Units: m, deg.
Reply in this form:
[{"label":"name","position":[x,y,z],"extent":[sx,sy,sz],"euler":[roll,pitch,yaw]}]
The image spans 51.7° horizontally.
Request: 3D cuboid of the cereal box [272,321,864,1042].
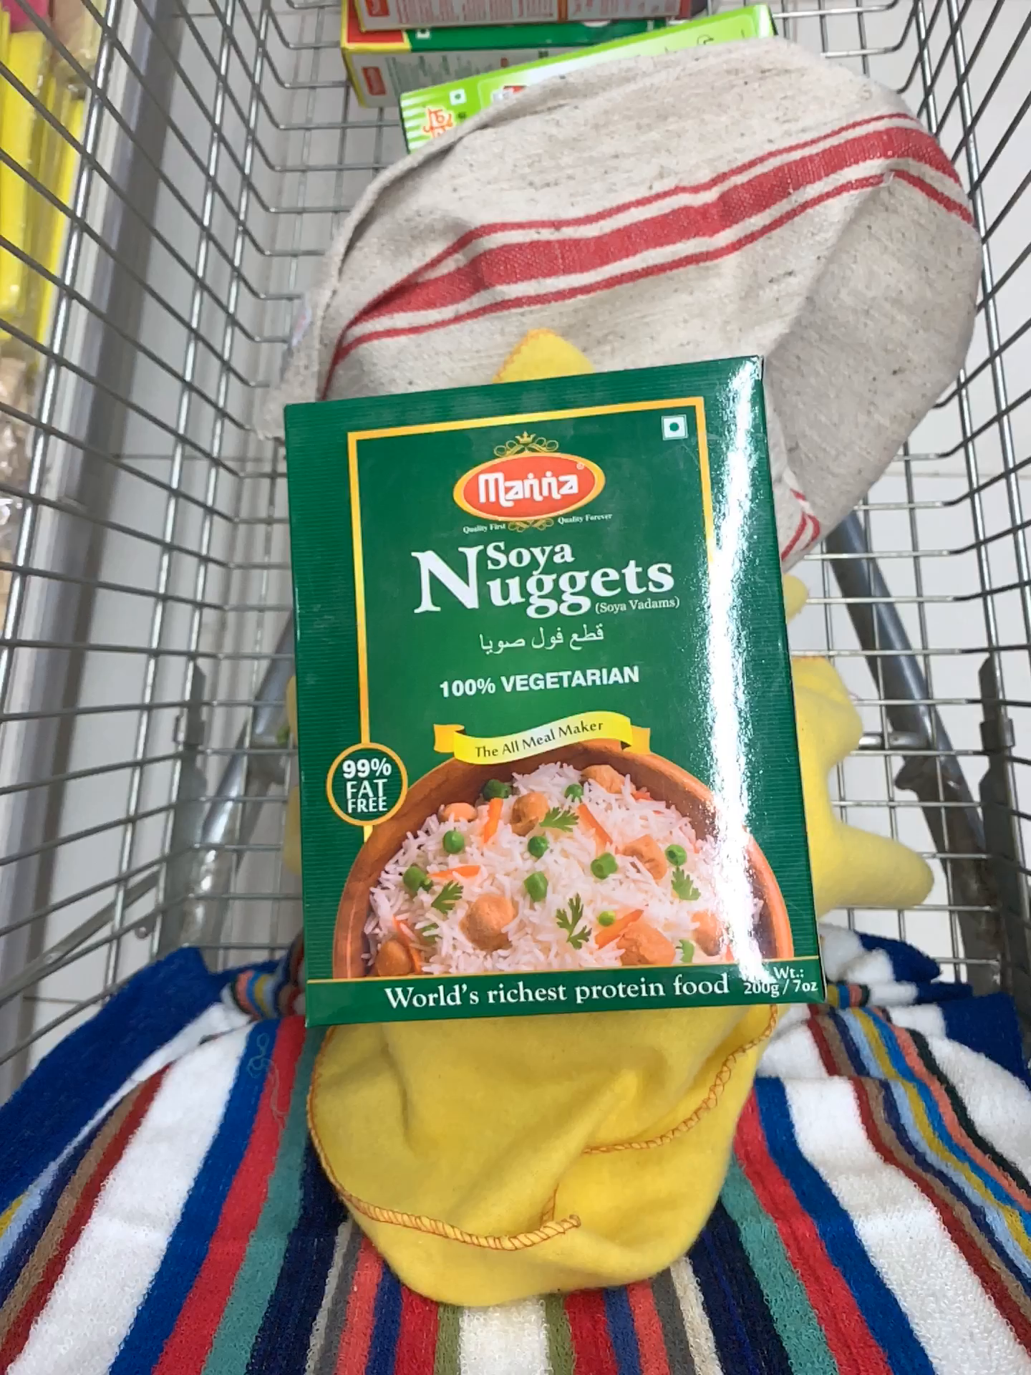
[{"label":"cereal box","position":[0.012,0.001,0.337],"extent":[0.160,0.060,0.200],"euler":[-4,82,6]}]
